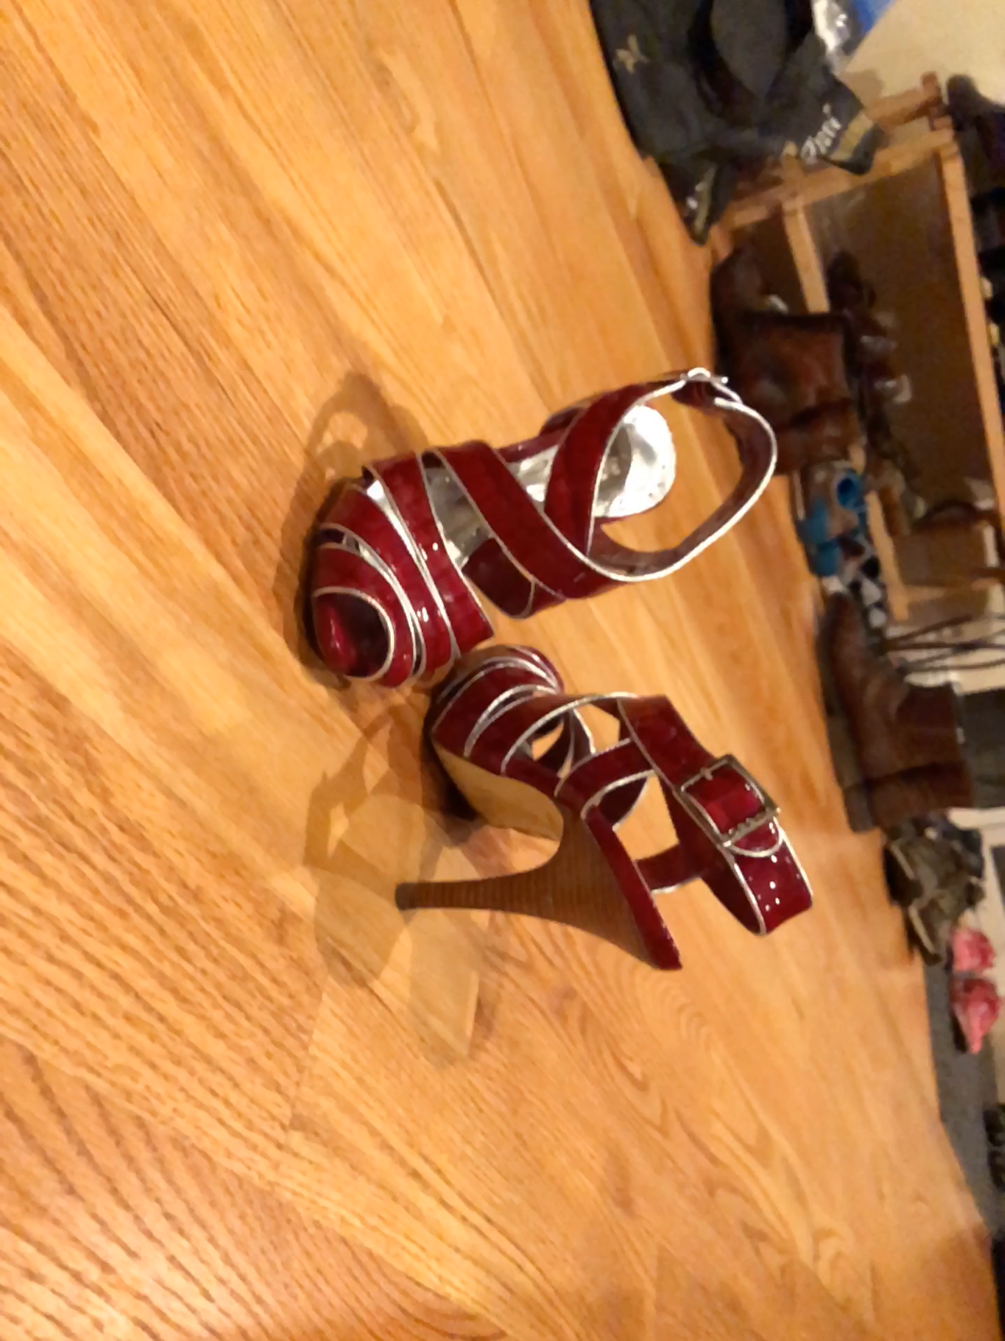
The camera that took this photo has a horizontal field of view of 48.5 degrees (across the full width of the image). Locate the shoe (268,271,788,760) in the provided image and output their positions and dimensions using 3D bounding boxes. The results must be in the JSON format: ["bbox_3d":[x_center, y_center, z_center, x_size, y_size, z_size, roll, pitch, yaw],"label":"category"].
[{"bbox_3d":[0.027,-0.071,0.460,0.199,0.151,0.091,-66,139,-54],"label":"shoe"}]

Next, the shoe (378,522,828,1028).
[{"bbox_3d":[0.057,0.039,0.477,0.194,0.141,0.091,-70,142,-51],"label":"shoe"}]
